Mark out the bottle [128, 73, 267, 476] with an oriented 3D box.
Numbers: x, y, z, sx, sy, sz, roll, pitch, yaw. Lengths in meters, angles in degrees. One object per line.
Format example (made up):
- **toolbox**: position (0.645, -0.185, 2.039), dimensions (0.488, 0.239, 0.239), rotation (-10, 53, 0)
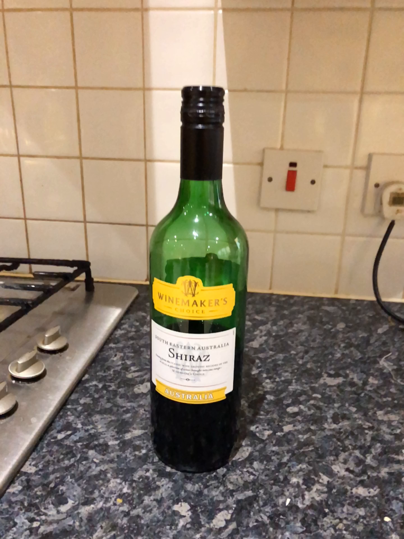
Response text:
- **bottle**: position (-0.001, 0.008, 0.336), dimensions (0.080, 0.278, 0.080), rotation (1, 19, 0)
